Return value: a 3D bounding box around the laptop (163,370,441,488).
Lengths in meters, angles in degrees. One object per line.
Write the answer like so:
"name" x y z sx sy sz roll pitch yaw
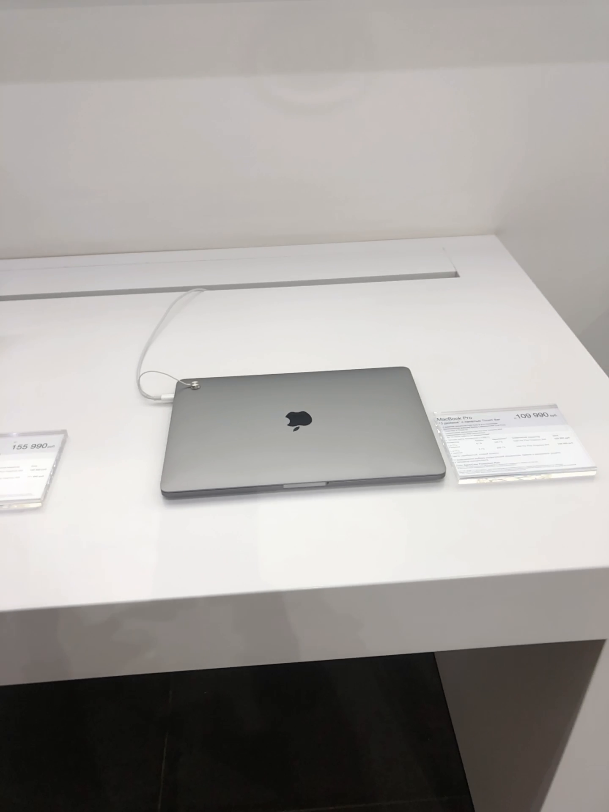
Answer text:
"laptop" -0.008 0.019 0.783 0.293 0.001 0.199 -3 36 -2
